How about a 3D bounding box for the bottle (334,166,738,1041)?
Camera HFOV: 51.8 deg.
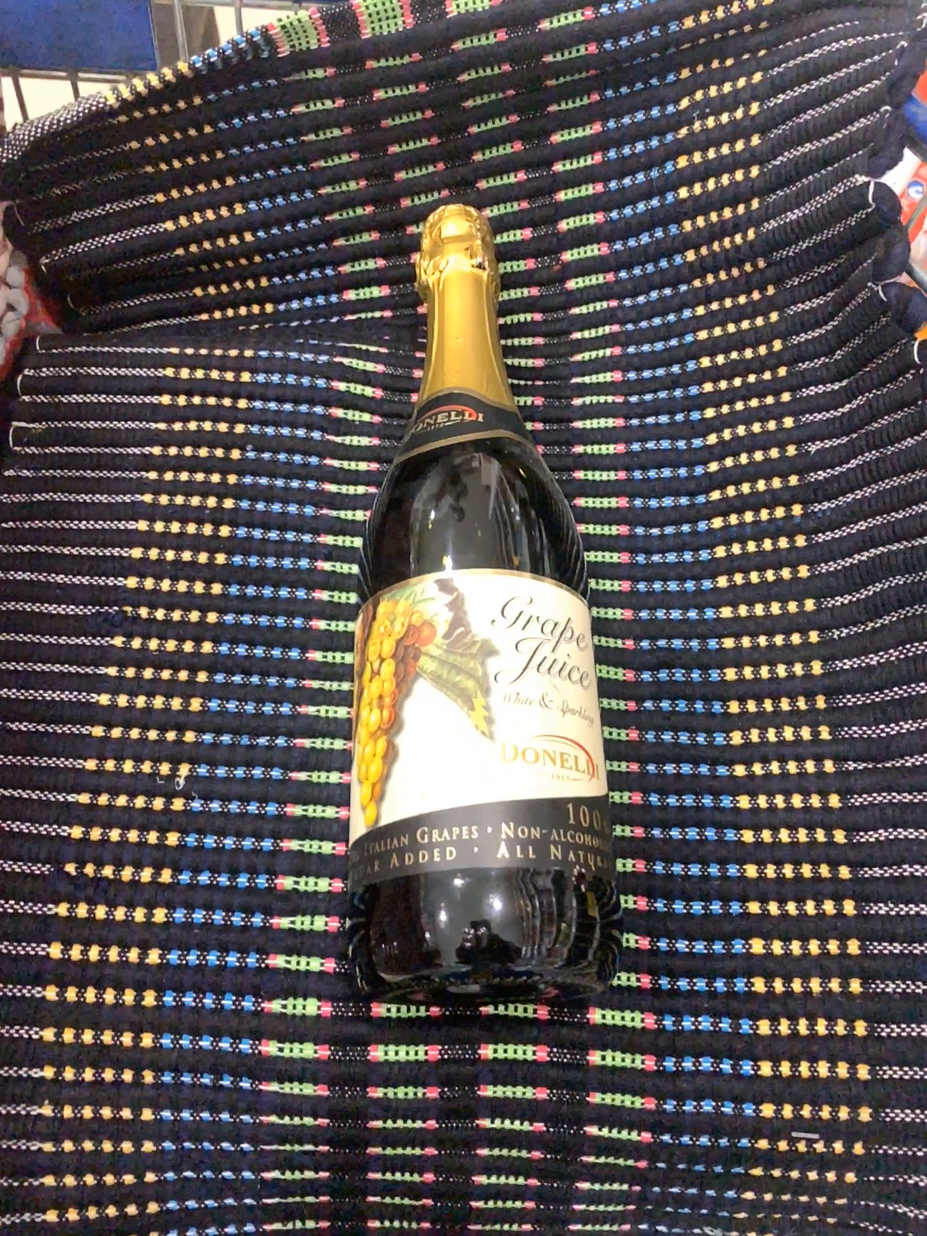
[{"bbox_3d":[0.007,-0.027,0.325,0.090,0.080,0.301,1,57,-6],"label":"bottle"}]
